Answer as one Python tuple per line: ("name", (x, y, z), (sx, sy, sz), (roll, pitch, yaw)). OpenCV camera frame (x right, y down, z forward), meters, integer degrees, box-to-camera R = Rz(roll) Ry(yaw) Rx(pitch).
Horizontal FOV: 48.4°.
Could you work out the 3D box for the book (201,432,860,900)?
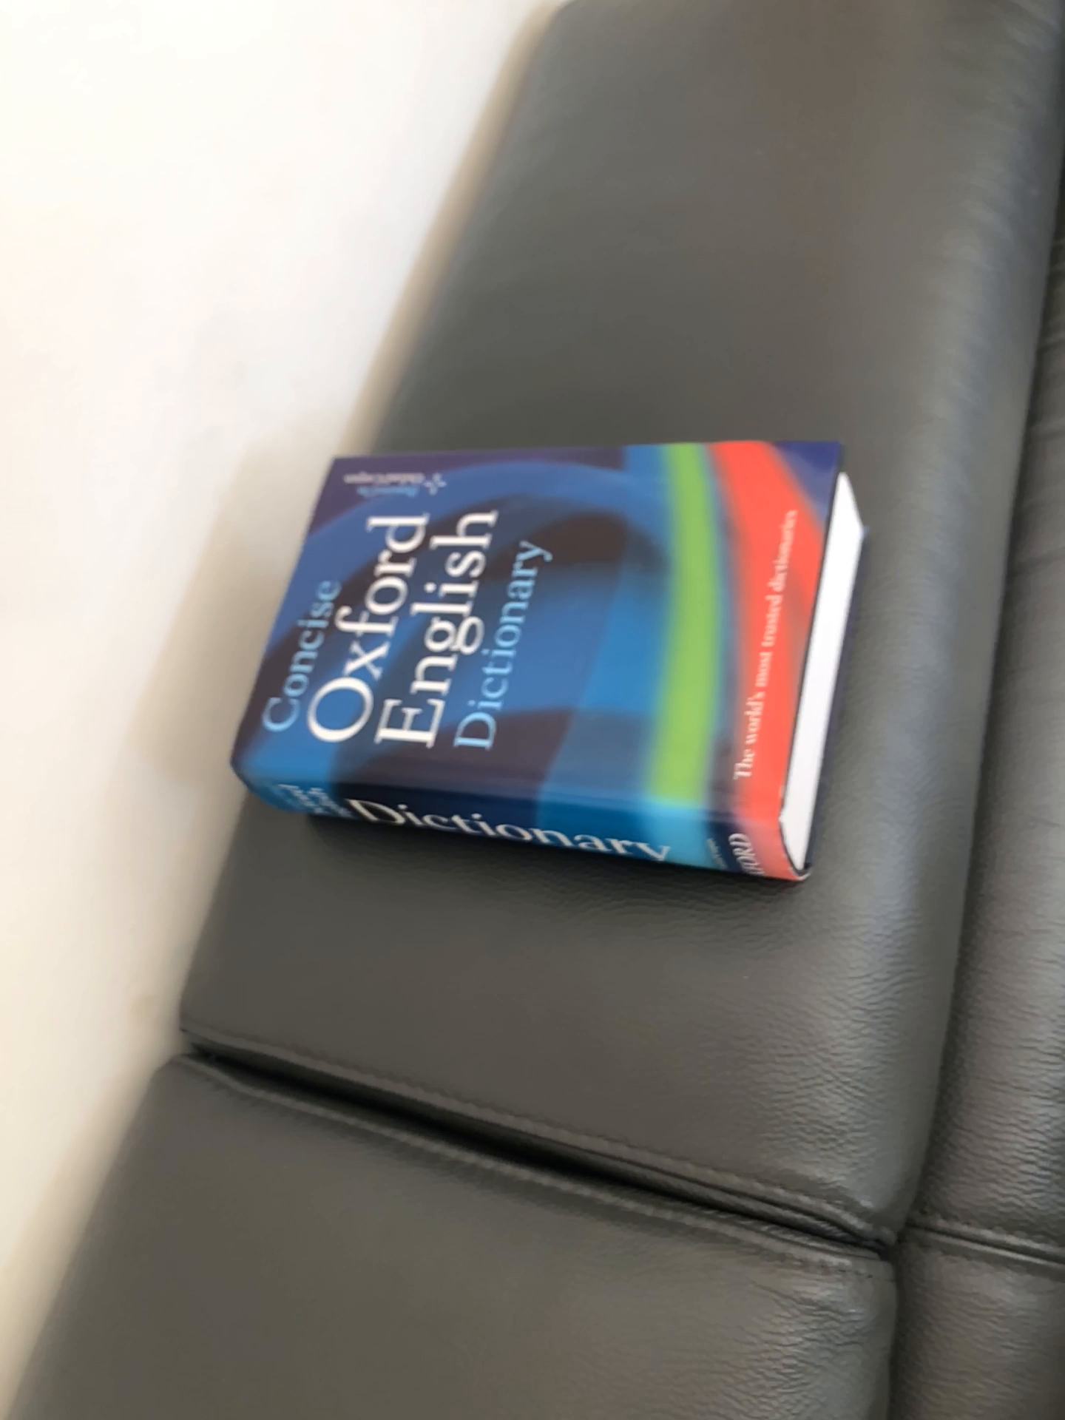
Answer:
("book", (0.001, -0.023, 0.518), (0.250, 0.070, 0.170), (3, 66, 26))
